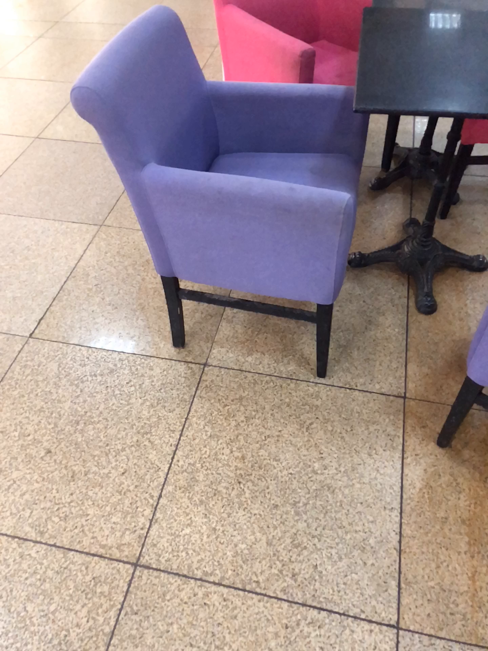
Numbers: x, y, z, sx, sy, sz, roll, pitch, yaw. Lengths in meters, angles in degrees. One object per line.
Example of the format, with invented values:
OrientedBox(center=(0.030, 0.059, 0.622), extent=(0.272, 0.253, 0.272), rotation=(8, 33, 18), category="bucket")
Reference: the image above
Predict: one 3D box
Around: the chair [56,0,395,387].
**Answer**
OrientedBox(center=(0.016, -0.358, 1.463), extent=(0.610, 0.817, 0.592), rotation=(9, 49, 10), category="chair")
